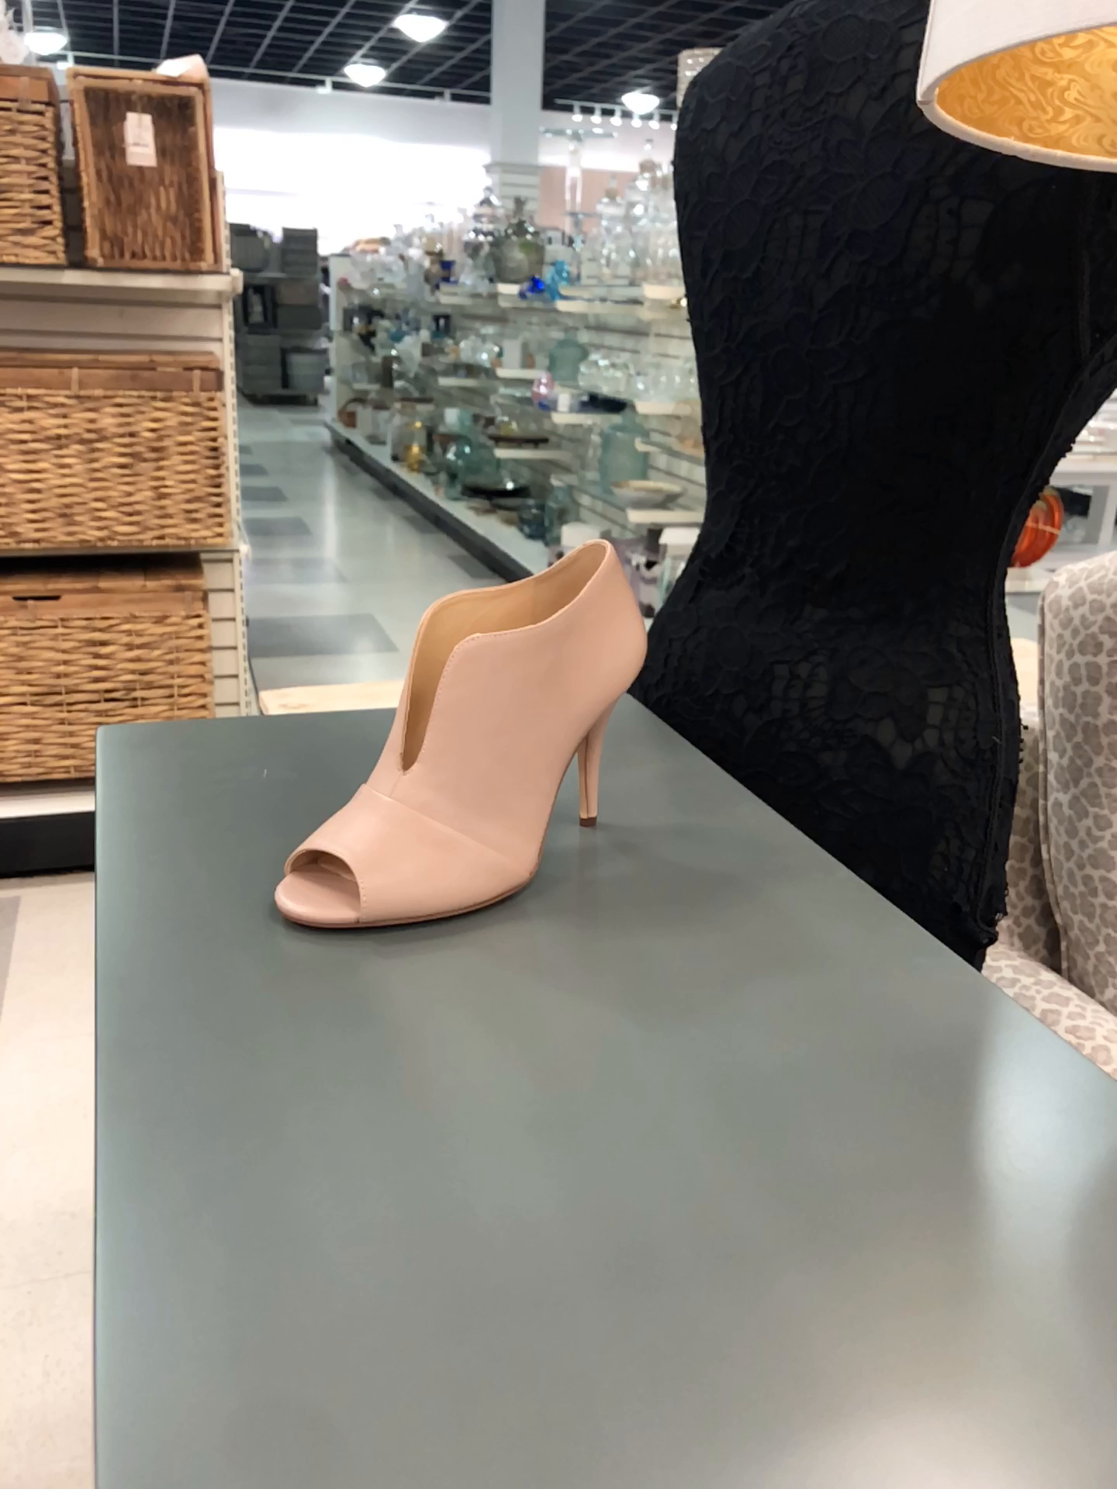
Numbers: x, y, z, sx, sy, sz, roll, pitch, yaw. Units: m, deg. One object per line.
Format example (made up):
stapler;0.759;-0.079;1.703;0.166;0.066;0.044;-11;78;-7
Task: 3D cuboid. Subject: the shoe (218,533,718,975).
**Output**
shoe;-0.037;-0.010;0.601;0.225;0.152;0.097;-15;26;-42
